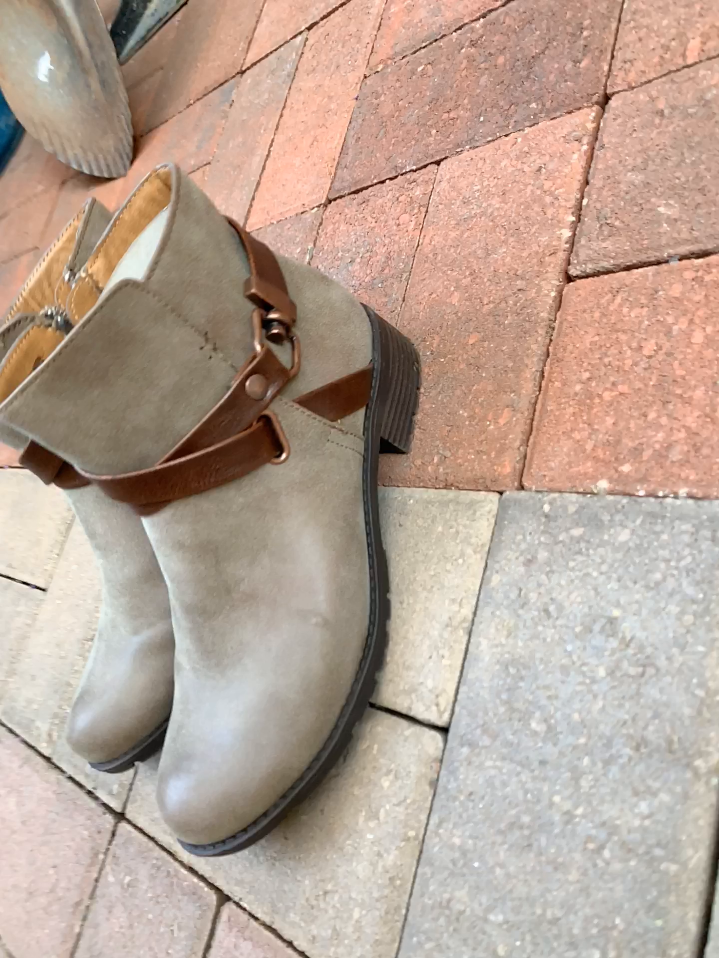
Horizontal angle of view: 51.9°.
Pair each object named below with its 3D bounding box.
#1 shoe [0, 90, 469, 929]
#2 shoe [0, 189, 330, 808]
[{"bbox_3d":[-0.069,0.020,0.298,0.096,0.165,0.250,-1,70,47],"label":"shoe"},{"bbox_3d":[-0.137,0.019,0.367,0.096,0.165,0.238,2,72,48],"label":"shoe"}]
